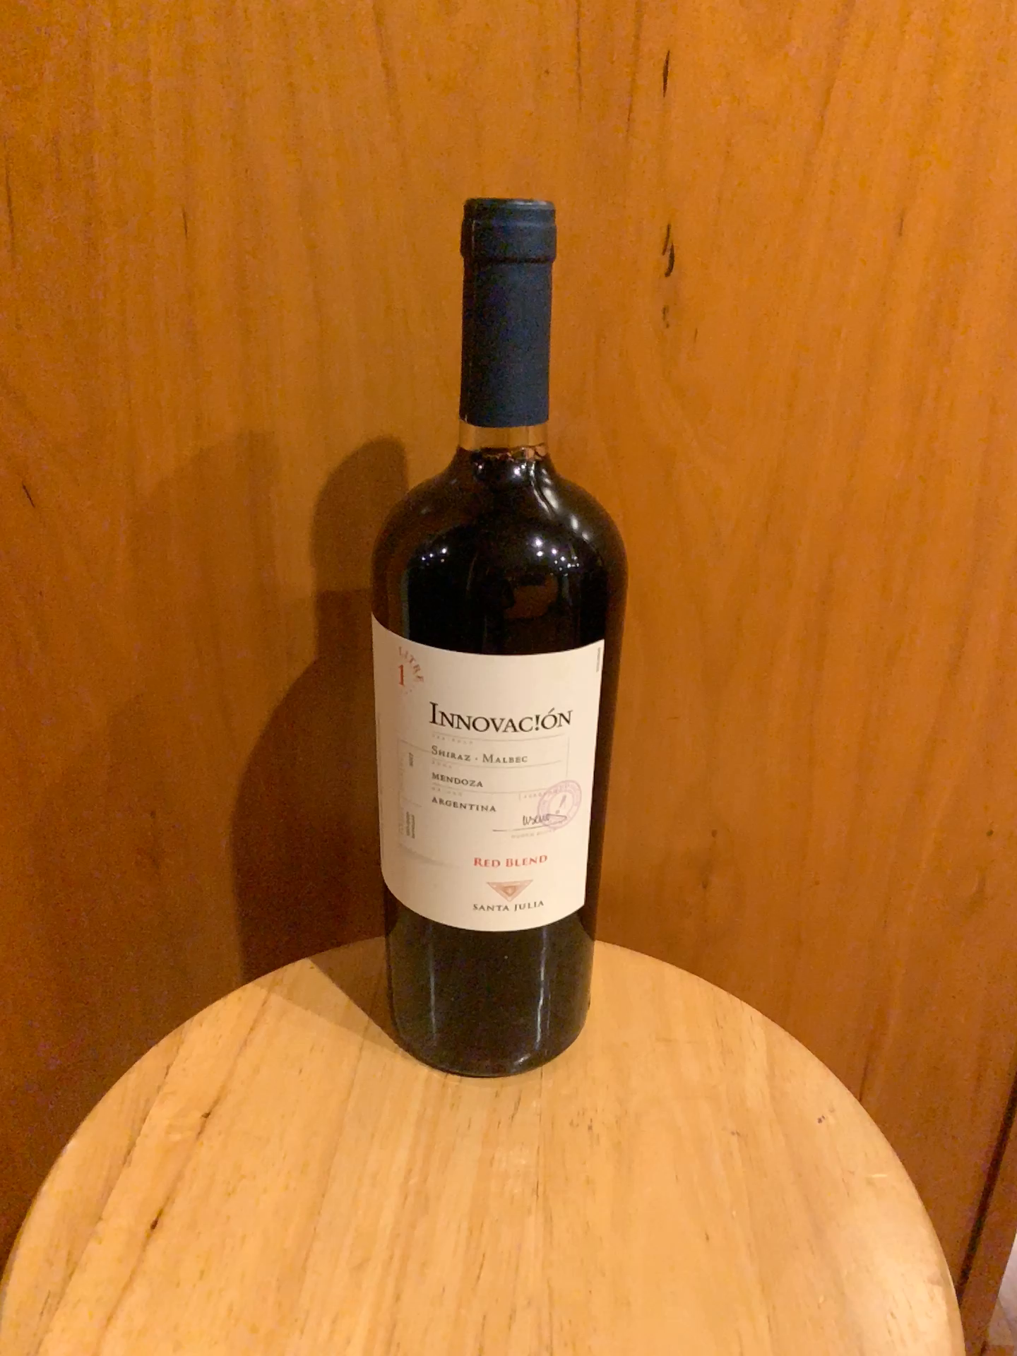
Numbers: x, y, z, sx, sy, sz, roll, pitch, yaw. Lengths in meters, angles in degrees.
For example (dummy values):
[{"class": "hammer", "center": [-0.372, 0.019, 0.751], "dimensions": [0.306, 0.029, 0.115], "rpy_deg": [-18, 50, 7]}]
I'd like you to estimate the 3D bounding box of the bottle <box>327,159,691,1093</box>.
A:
[{"class": "bottle", "center": [-0.003, -0.006, 0.355], "dimensions": [0.090, 0.299, 0.080], "rpy_deg": [2, 23, 1]}]
